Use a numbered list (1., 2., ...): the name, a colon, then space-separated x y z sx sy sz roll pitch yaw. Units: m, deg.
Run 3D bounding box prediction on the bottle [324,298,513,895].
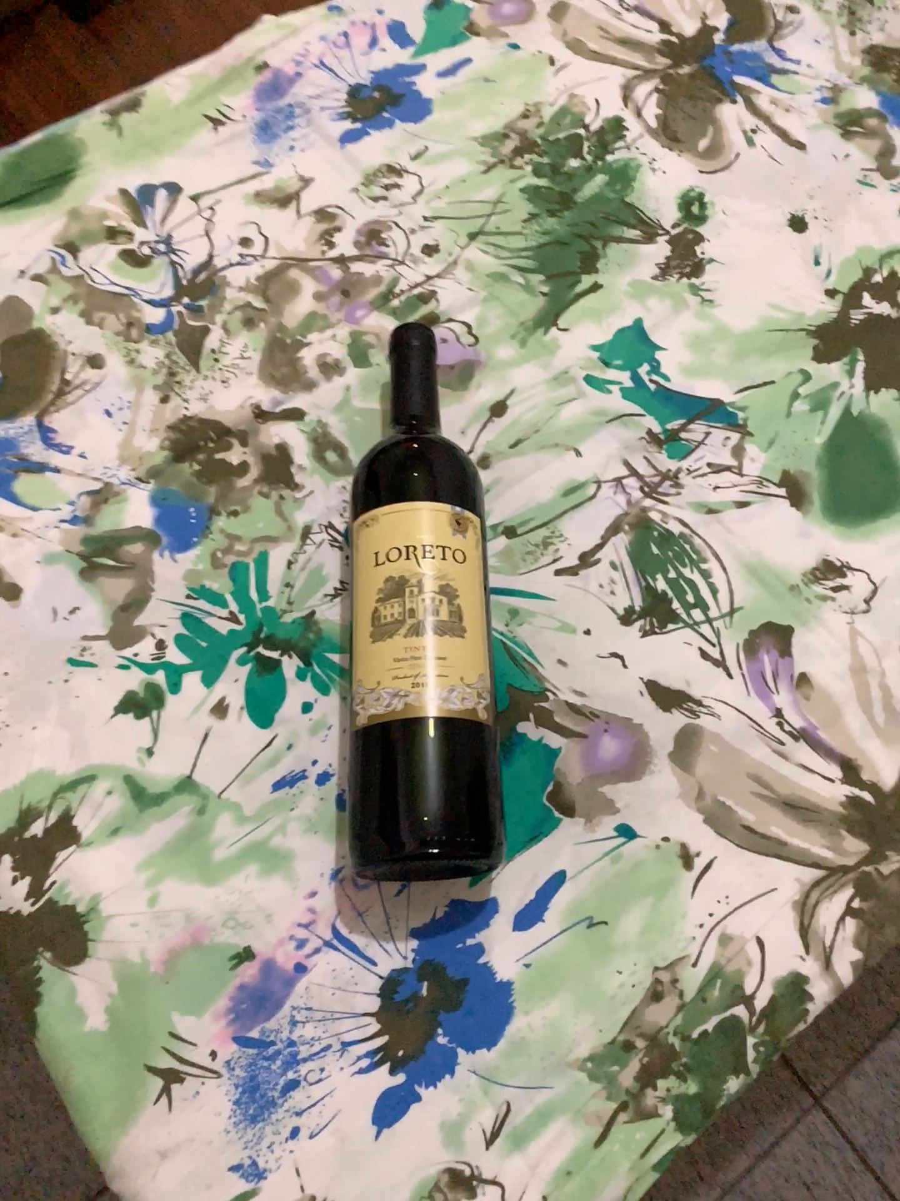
1. bottle: -0.020 -0.015 0.473 0.080 0.050 0.311 0 67 -4
